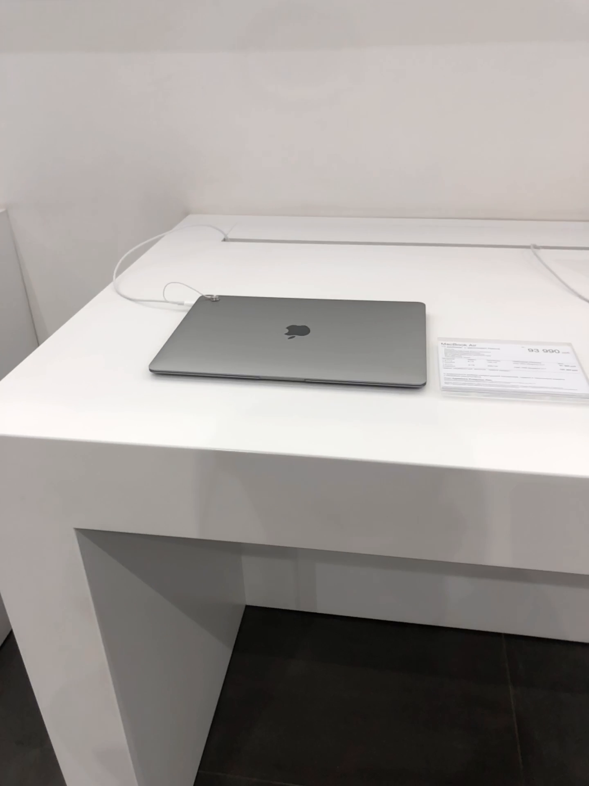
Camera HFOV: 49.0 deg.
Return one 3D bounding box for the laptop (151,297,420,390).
[{"bbox_3d":[0.002,-0.067,0.777,0.292,0.006,0.205,3,32,10],"label":"laptop"}]
